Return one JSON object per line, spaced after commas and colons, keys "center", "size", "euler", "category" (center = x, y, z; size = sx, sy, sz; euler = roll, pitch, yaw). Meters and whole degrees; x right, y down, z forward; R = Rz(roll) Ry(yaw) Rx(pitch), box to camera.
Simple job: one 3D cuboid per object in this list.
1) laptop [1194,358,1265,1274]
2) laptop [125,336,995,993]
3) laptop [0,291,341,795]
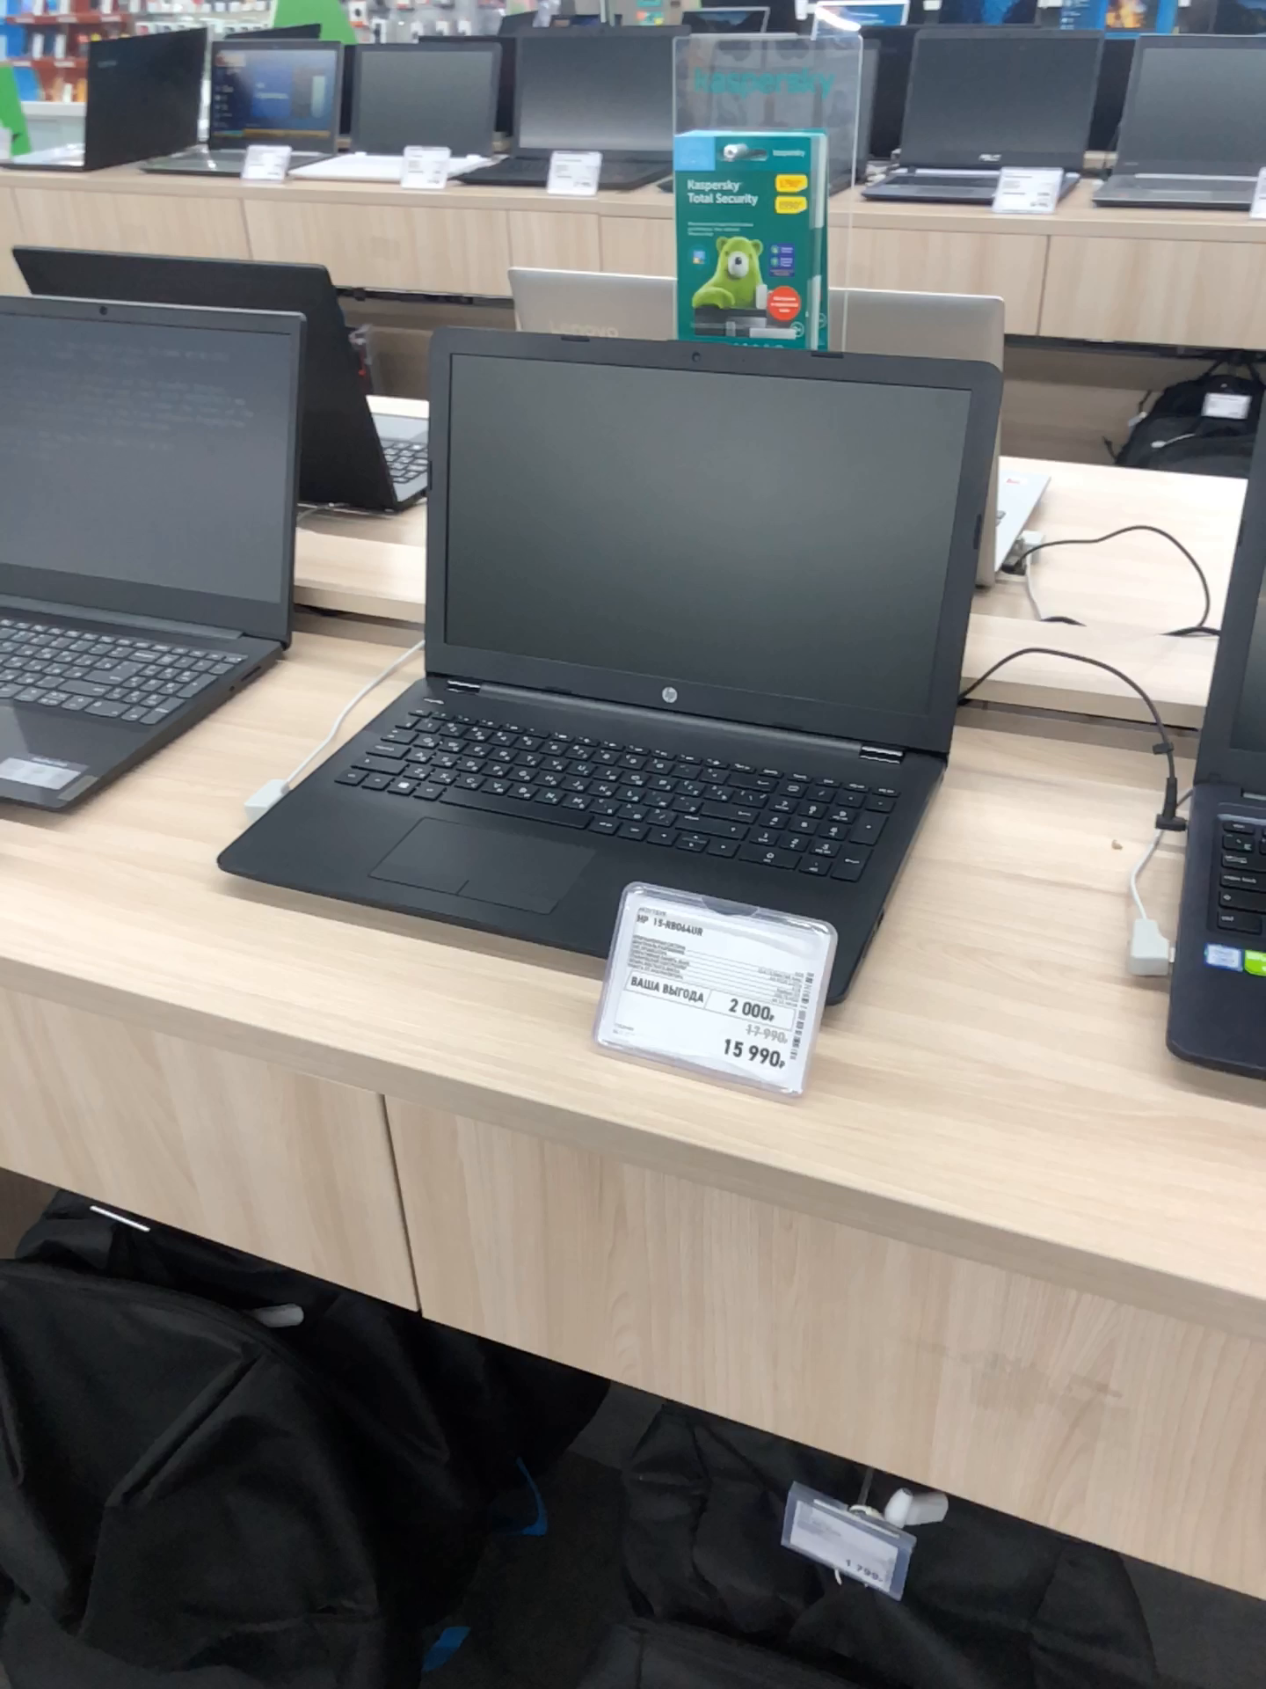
{"center": [0.474, -0.056, 0.640], "size": [0.369, 0.209, 0.335], "euler": [10, 36, 18], "category": "laptop"}
{"center": [-0.017, -0.132, 0.796], "size": [0.367, 0.216, 0.313], "euler": [10, 36, 20], "category": "laptop"}
{"center": [-0.458, -0.235, 0.984], "size": [0.331, 0.213, 0.328], "euler": [11, 36, 19], "category": "laptop"}
